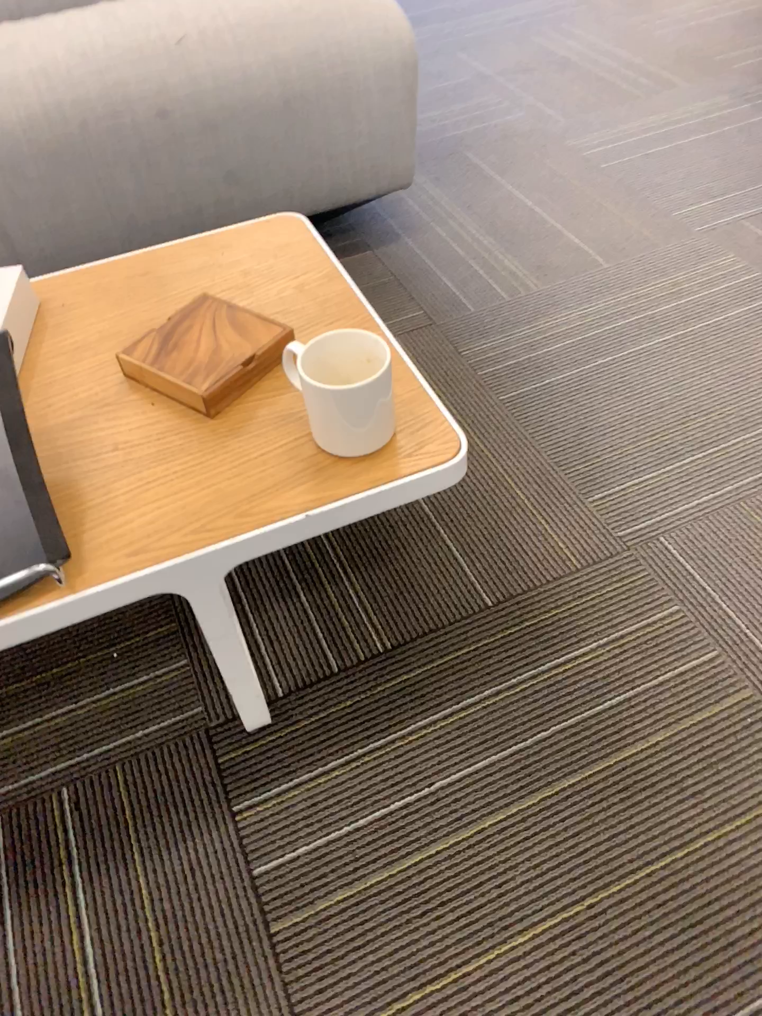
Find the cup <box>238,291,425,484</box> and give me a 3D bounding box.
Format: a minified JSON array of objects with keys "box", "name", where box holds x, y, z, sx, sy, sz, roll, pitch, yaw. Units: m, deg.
[{"box":[-0.043,-0.112,0.700,0.090,0.090,0.141,-36,54,-23],"name":"cup"}]
